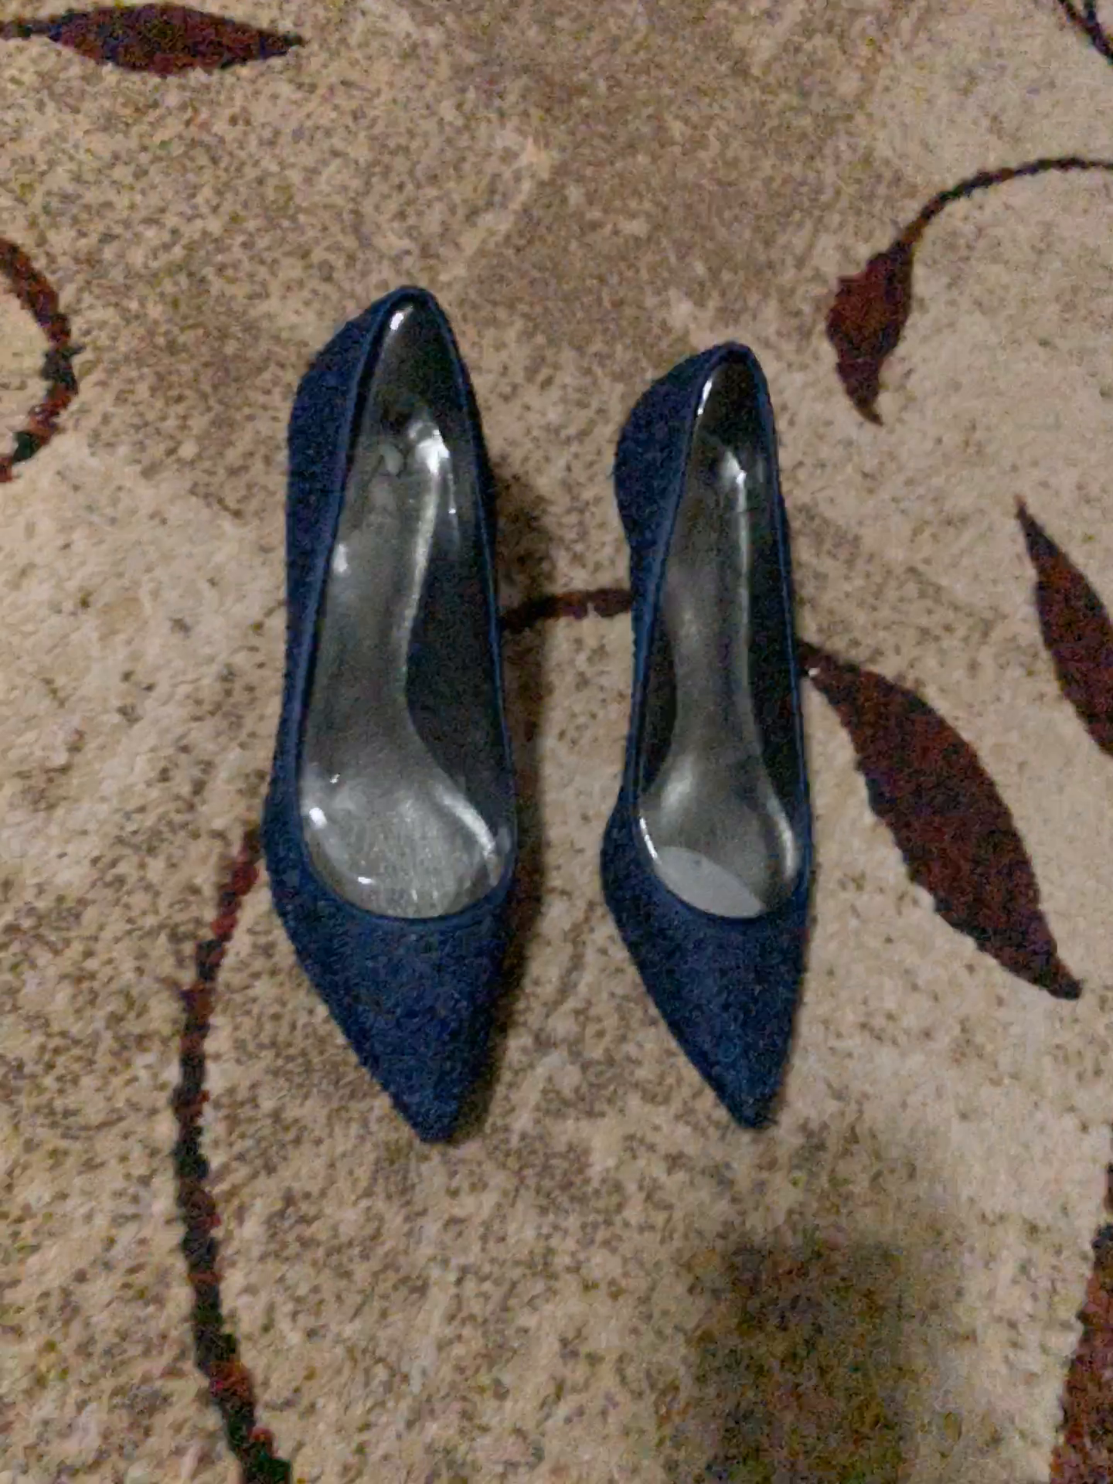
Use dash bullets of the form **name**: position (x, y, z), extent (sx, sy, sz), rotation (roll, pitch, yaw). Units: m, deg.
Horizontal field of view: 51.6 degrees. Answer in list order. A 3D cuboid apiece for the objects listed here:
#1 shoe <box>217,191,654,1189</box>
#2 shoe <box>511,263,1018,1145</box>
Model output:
- **shoe**: position (-0.052, -0.021, 0.370), extent (0.088, 0.089, 0.293), rotation (-3, 72, -19)
- **shoe**: position (0.058, -0.016, 0.402), extent (0.088, 0.089, 0.284), rotation (-3, 72, -19)
